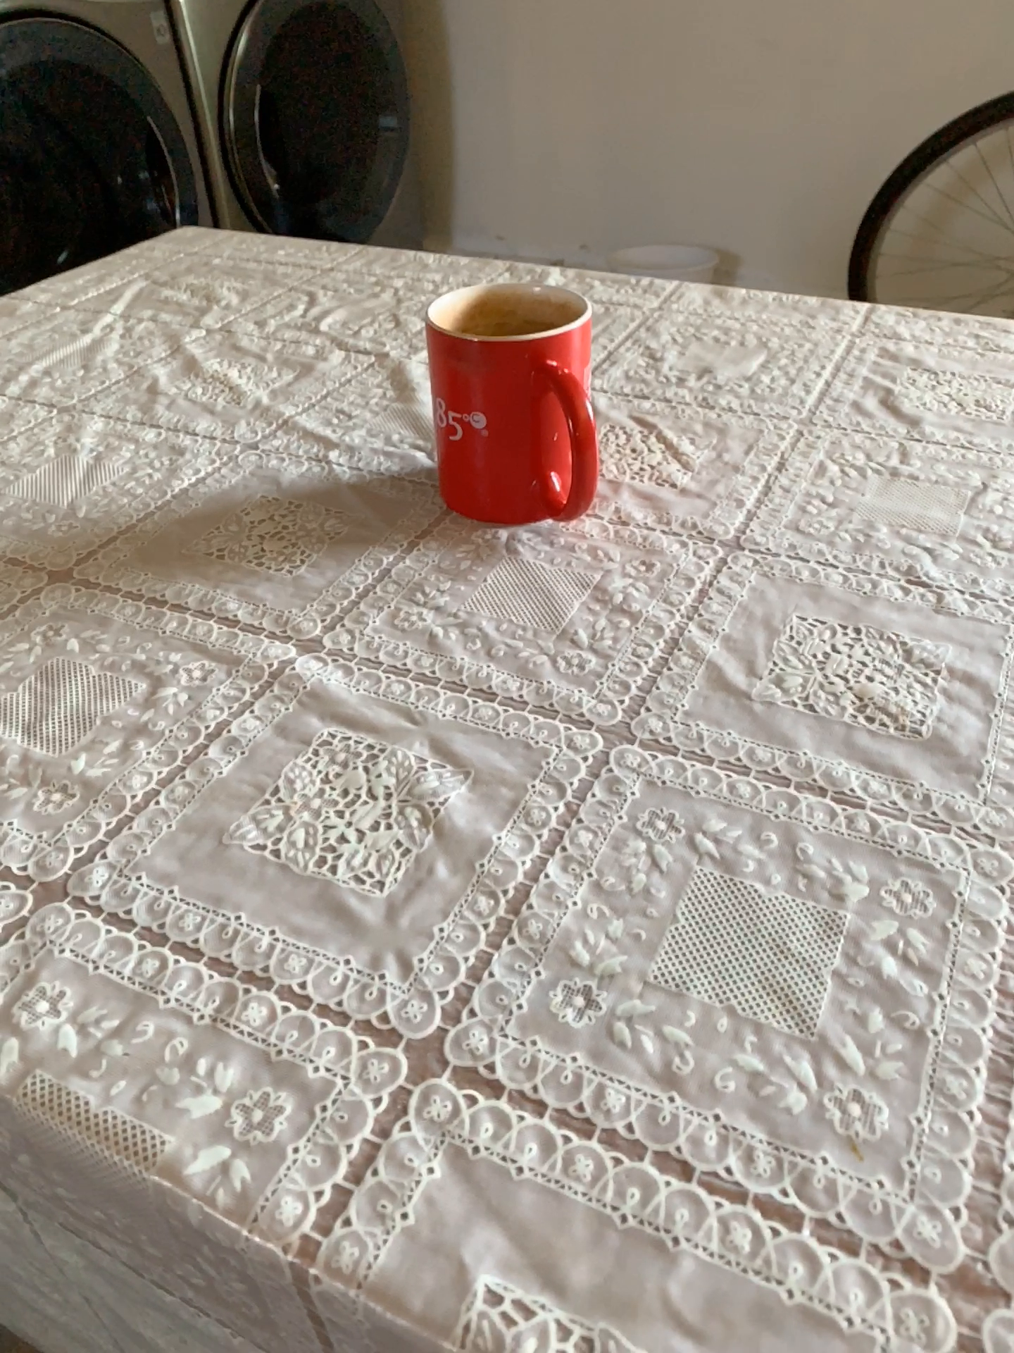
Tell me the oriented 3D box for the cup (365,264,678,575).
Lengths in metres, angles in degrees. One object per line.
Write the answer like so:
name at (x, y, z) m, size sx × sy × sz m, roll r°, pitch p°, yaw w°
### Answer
cup at (0.005, -0.131, 0.510) m, size 0.090 × 0.090 × 0.131 m, roll -22°, pitch 42°, yaw -22°
